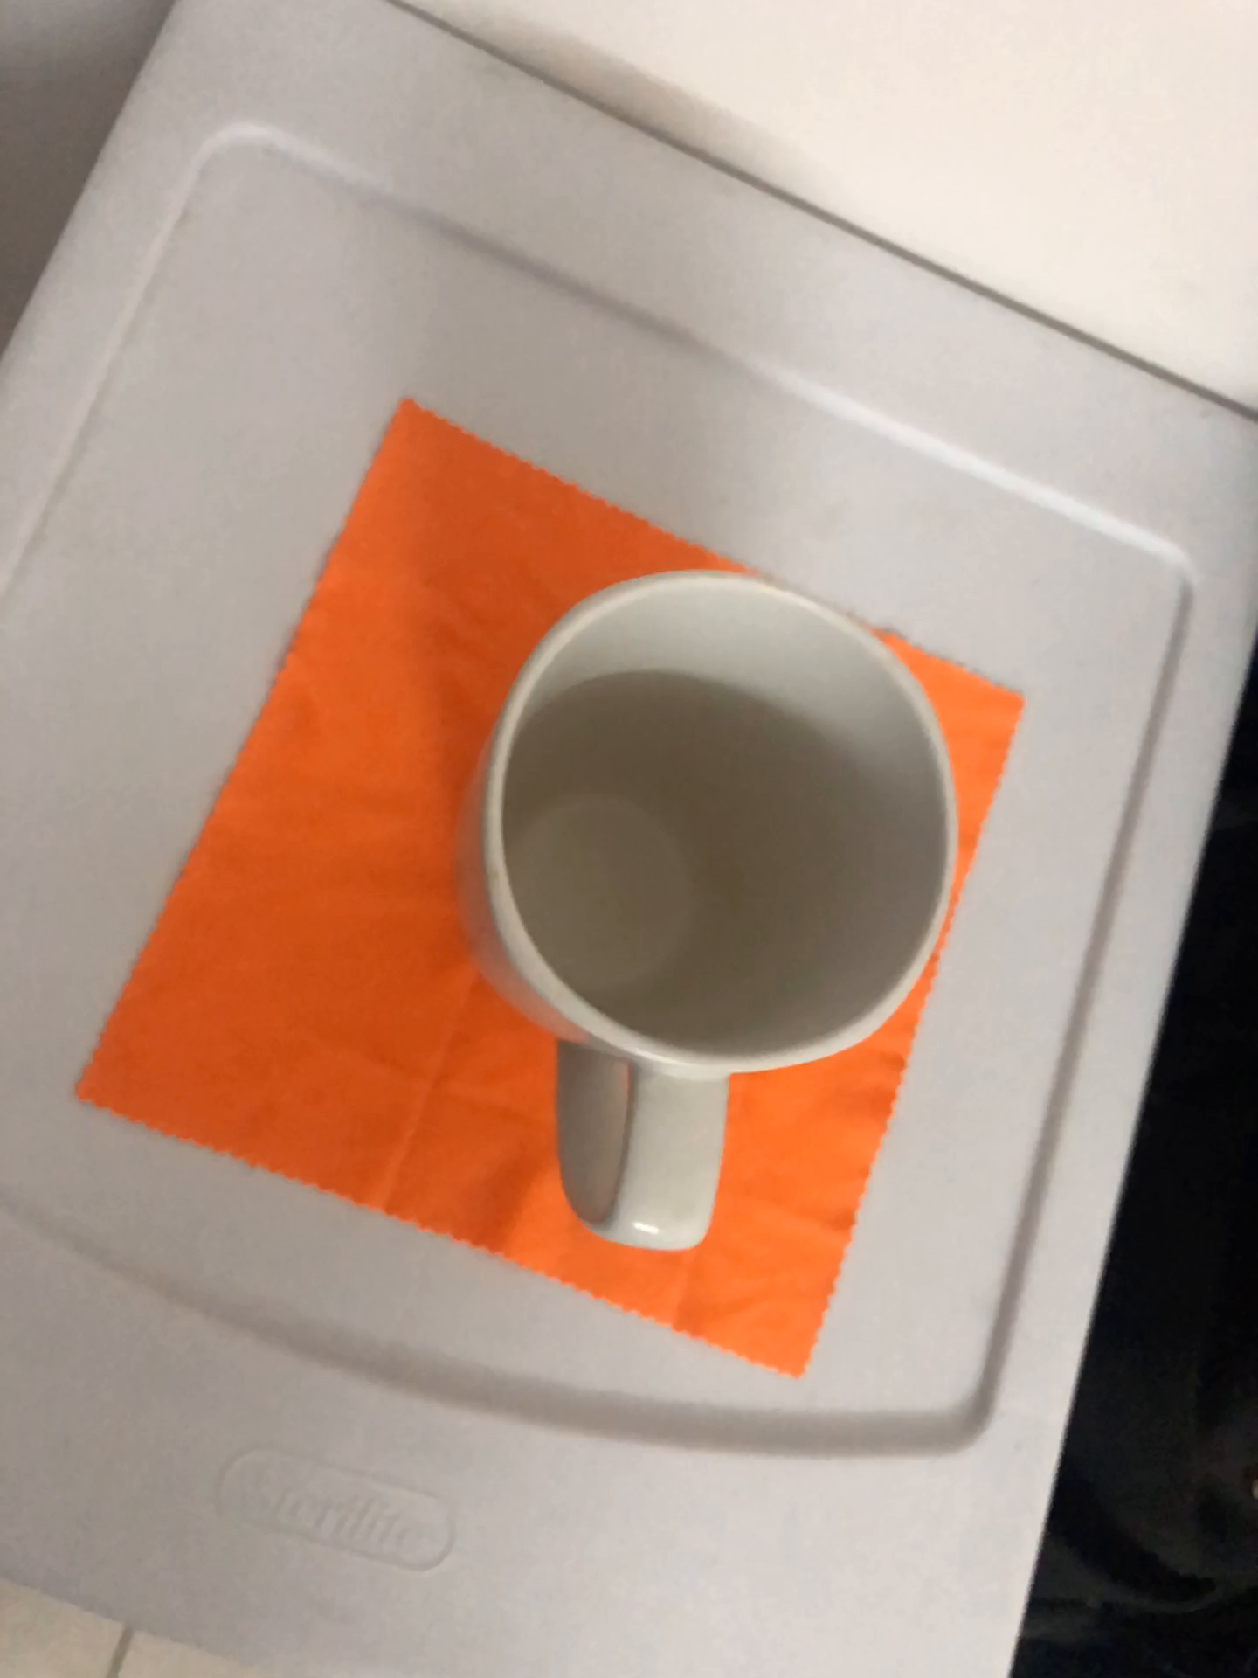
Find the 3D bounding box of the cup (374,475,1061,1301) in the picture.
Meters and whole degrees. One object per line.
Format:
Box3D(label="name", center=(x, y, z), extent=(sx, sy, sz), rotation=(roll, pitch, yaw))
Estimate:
Box3D(label="cup", center=(0.011, 0.015, 0.283), extent=(0.090, 0.100, 0.120), rotation=(14, 78, -12))
